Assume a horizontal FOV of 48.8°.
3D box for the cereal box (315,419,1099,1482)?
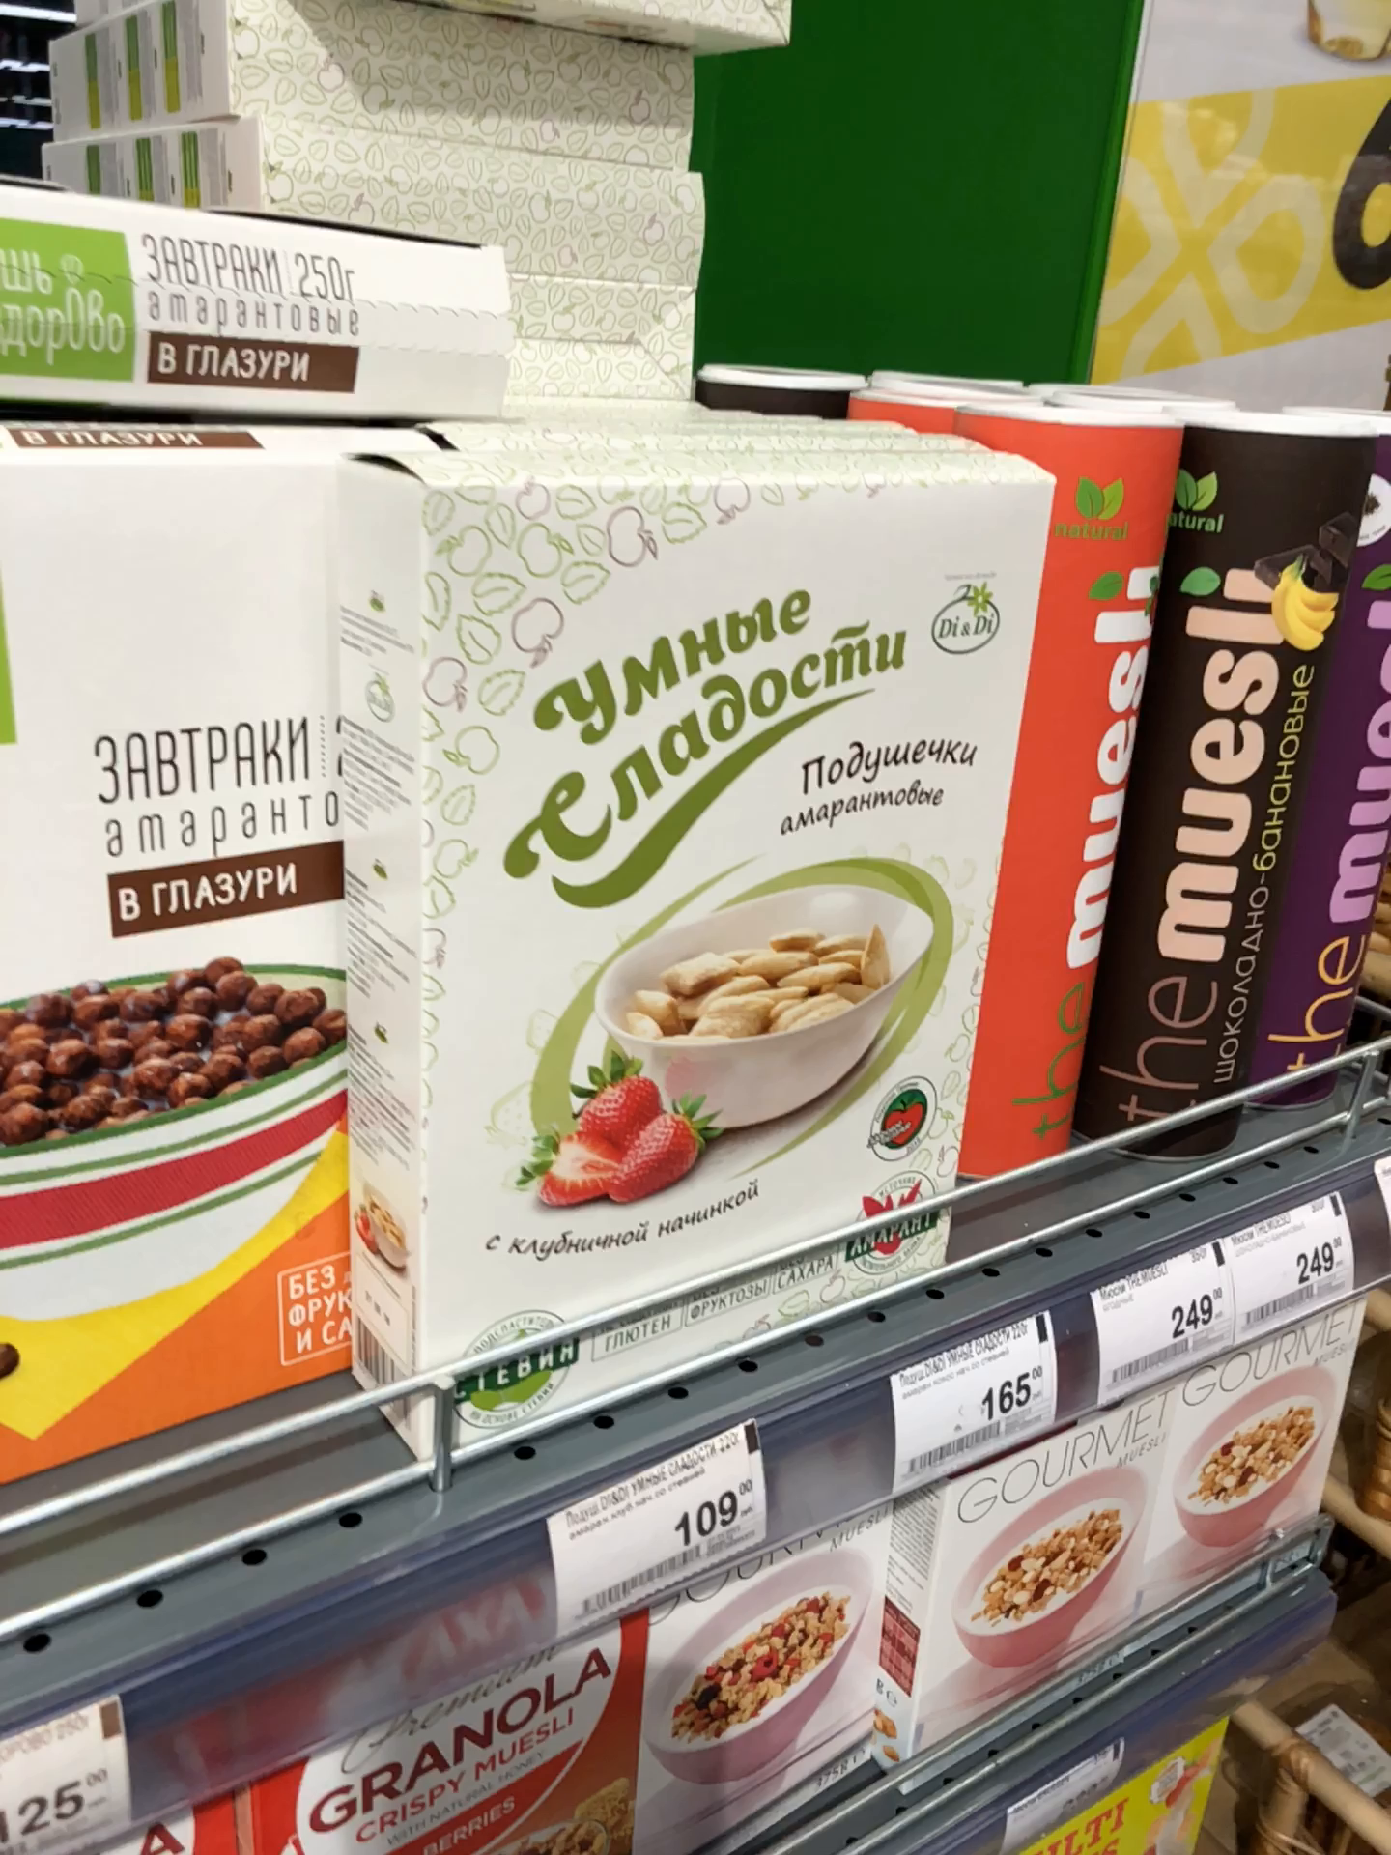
[{"bbox_3d":[0.004,-0.001,0.424,0.200,0.259,0.050,-11,25,-32],"label":"cereal box"}]
